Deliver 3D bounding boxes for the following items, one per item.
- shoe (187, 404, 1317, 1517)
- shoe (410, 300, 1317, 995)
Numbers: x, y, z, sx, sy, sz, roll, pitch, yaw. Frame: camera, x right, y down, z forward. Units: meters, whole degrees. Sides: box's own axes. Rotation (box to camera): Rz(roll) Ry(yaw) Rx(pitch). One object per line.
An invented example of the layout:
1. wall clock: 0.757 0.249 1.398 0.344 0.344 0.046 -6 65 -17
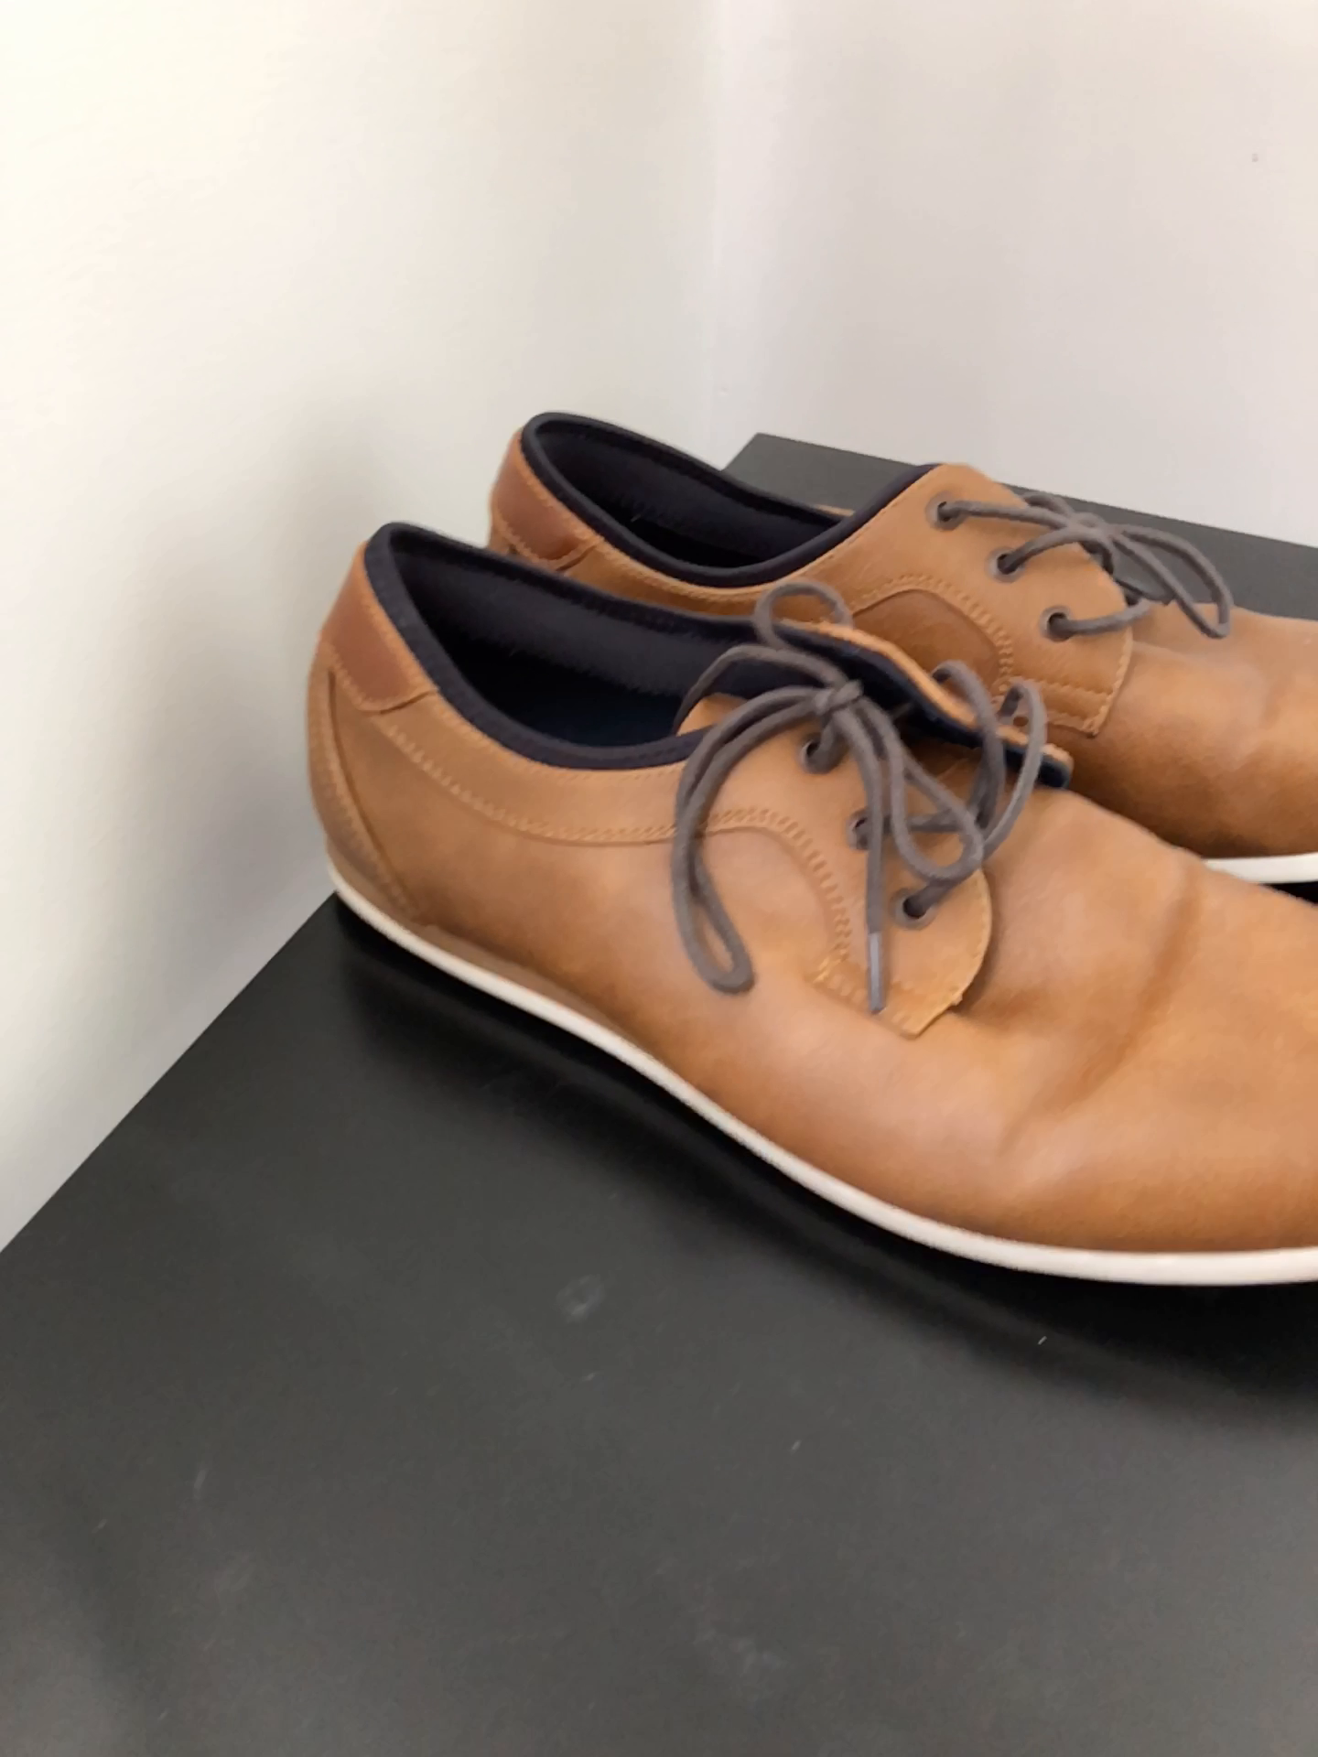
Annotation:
1. shoe: 0.050 -0.003 0.302 0.271 0.100 0.104 21 45 21
2. shoe: 0.088 -0.071 0.394 0.280 0.100 0.104 13 42 13
